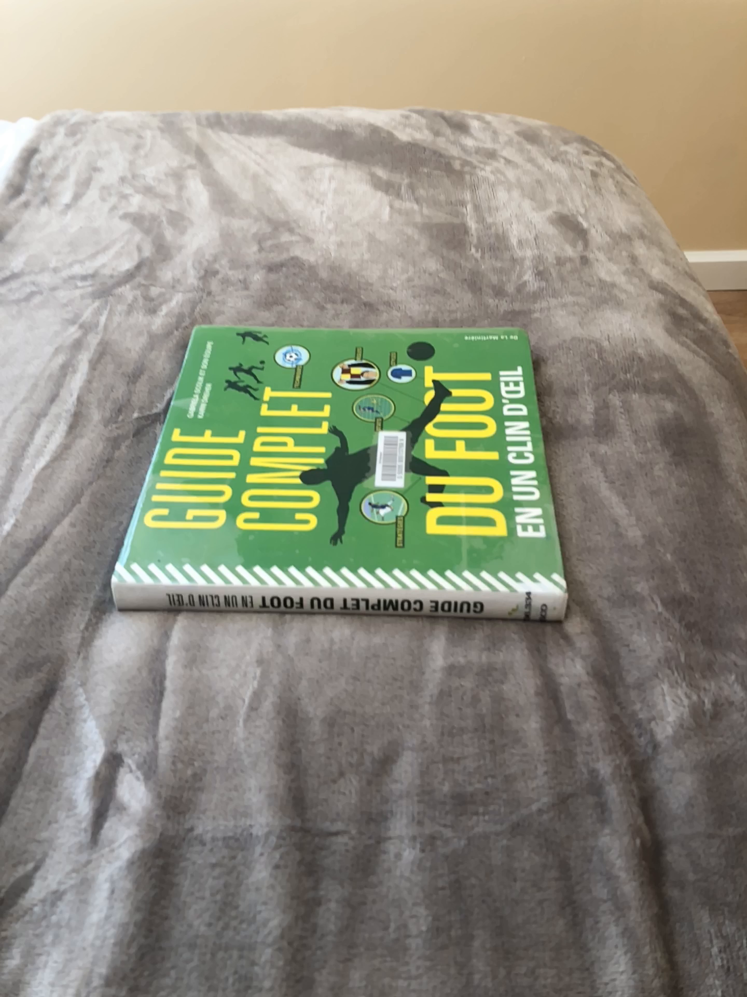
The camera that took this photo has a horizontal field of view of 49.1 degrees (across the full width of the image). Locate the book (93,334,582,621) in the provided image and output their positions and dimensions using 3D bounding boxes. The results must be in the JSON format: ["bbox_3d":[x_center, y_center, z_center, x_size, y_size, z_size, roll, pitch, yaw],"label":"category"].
[{"bbox_3d":[-0.015,-0.026,0.487,0.238,0.018,0.229,1,44,1],"label":"book"}]
